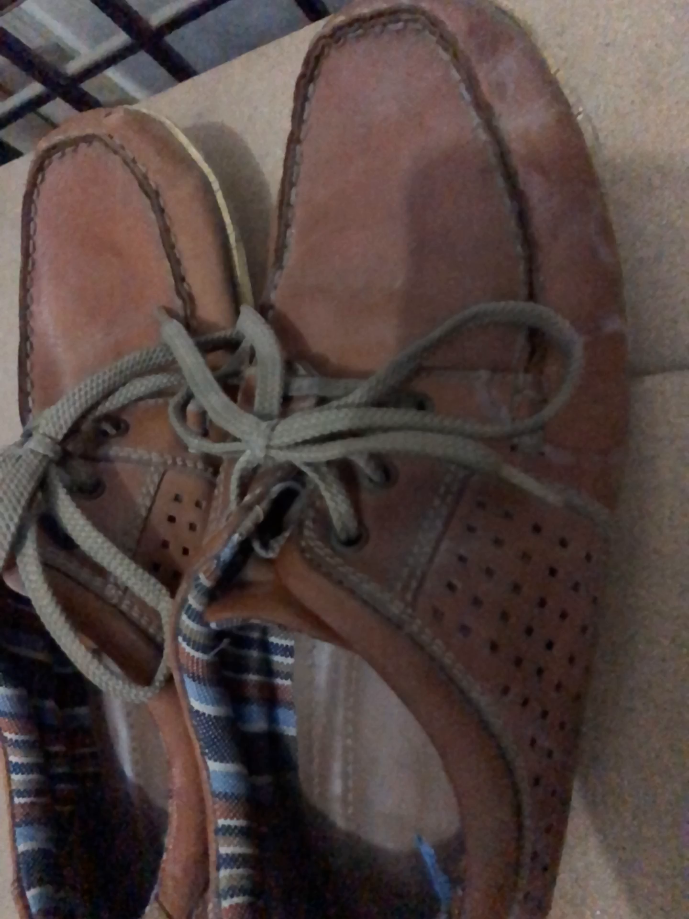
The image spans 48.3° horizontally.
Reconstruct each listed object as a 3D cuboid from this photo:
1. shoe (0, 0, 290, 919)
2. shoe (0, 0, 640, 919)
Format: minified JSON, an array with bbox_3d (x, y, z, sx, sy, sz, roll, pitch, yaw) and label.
[{"bbox_3d":[-0.093,0.006,0.255,0.100,0.100,0.287,-11,75,36],"label":"shoe"},{"bbox_3d":[0.003,-0.002,0.188,0.100,0.100,0.280,-4,78,37],"label":"shoe"}]
